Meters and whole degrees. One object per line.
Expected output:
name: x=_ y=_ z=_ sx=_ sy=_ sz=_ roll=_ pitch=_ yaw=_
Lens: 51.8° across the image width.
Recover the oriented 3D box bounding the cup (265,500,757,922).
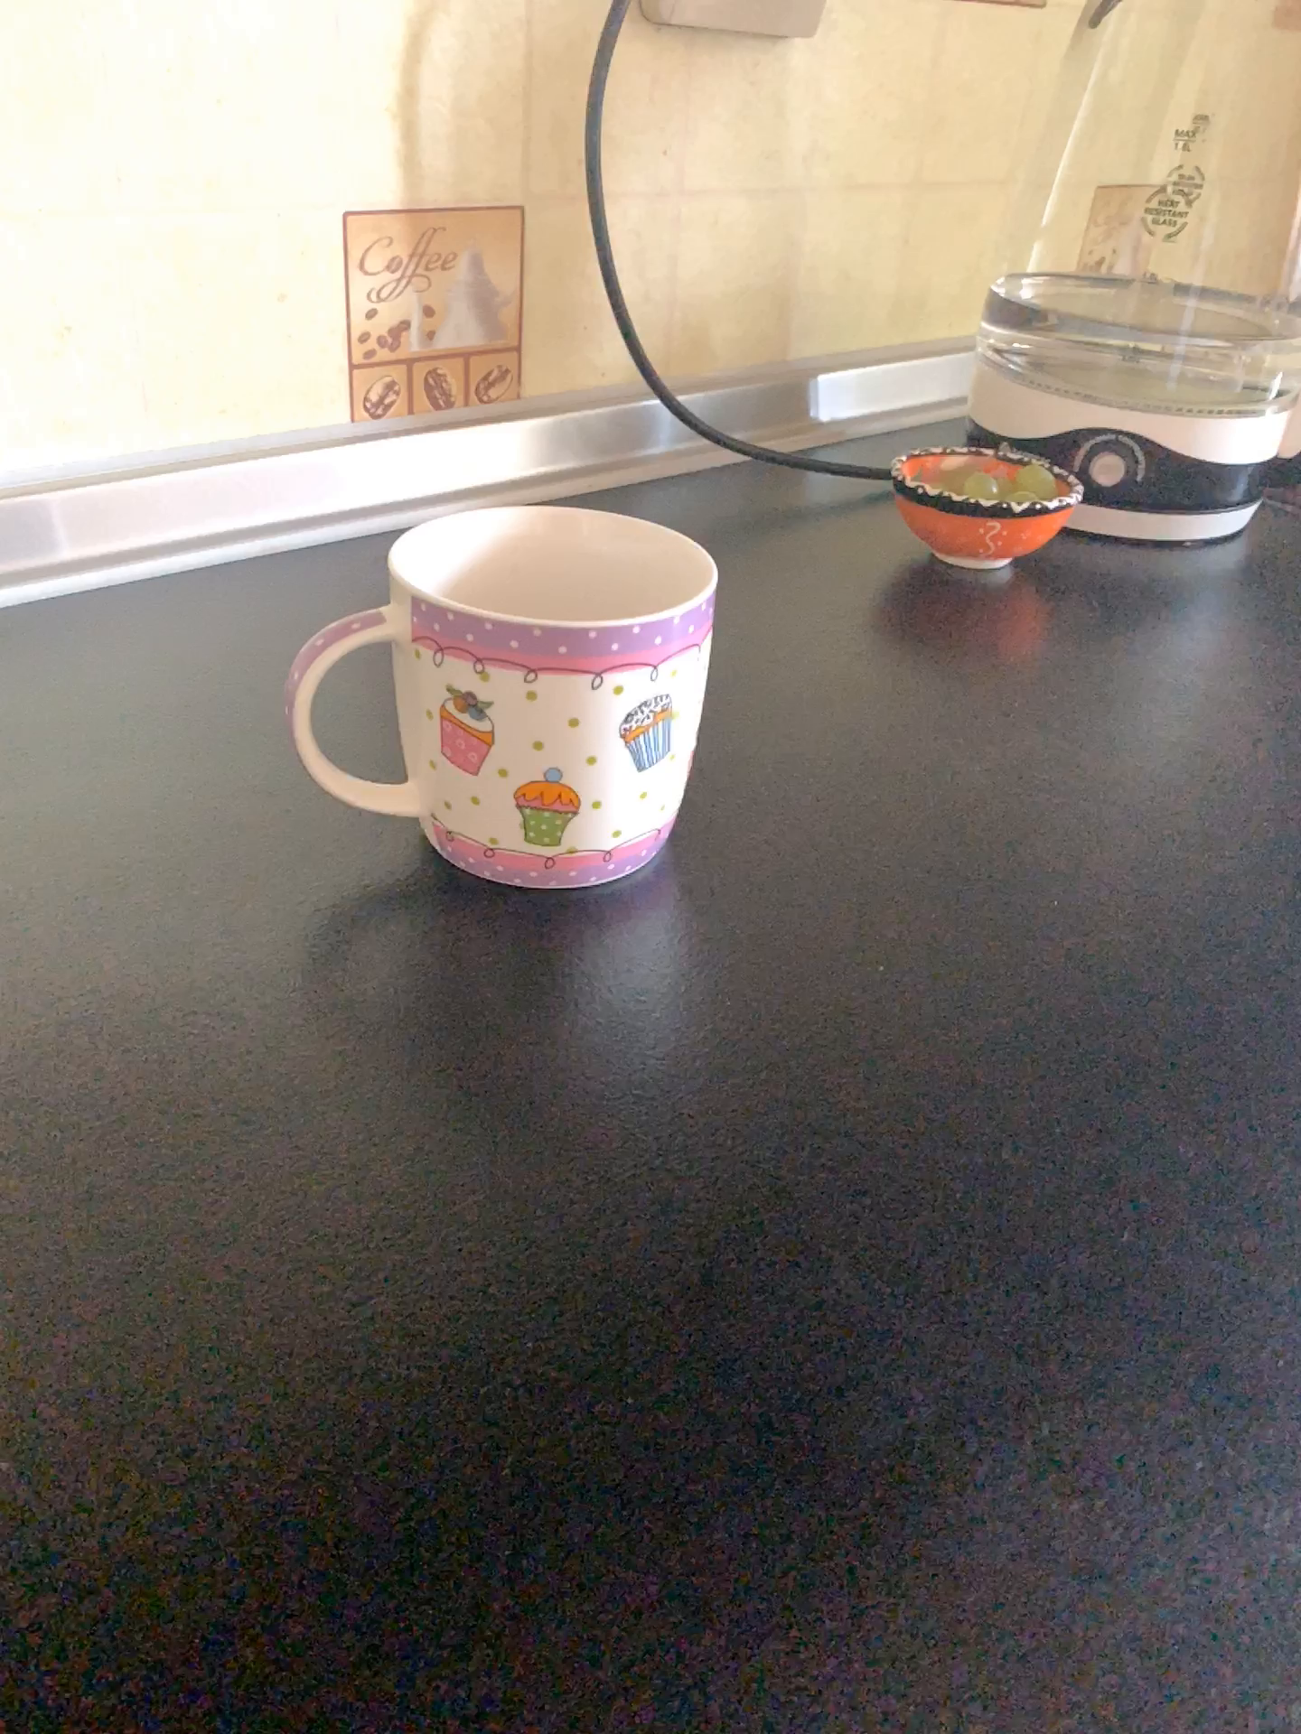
cup: x=-0.041 y=-0.046 z=0.356 sx=0.110 sy=0.080 sz=0.080 roll=-5 pitch=33 yaw=-16
